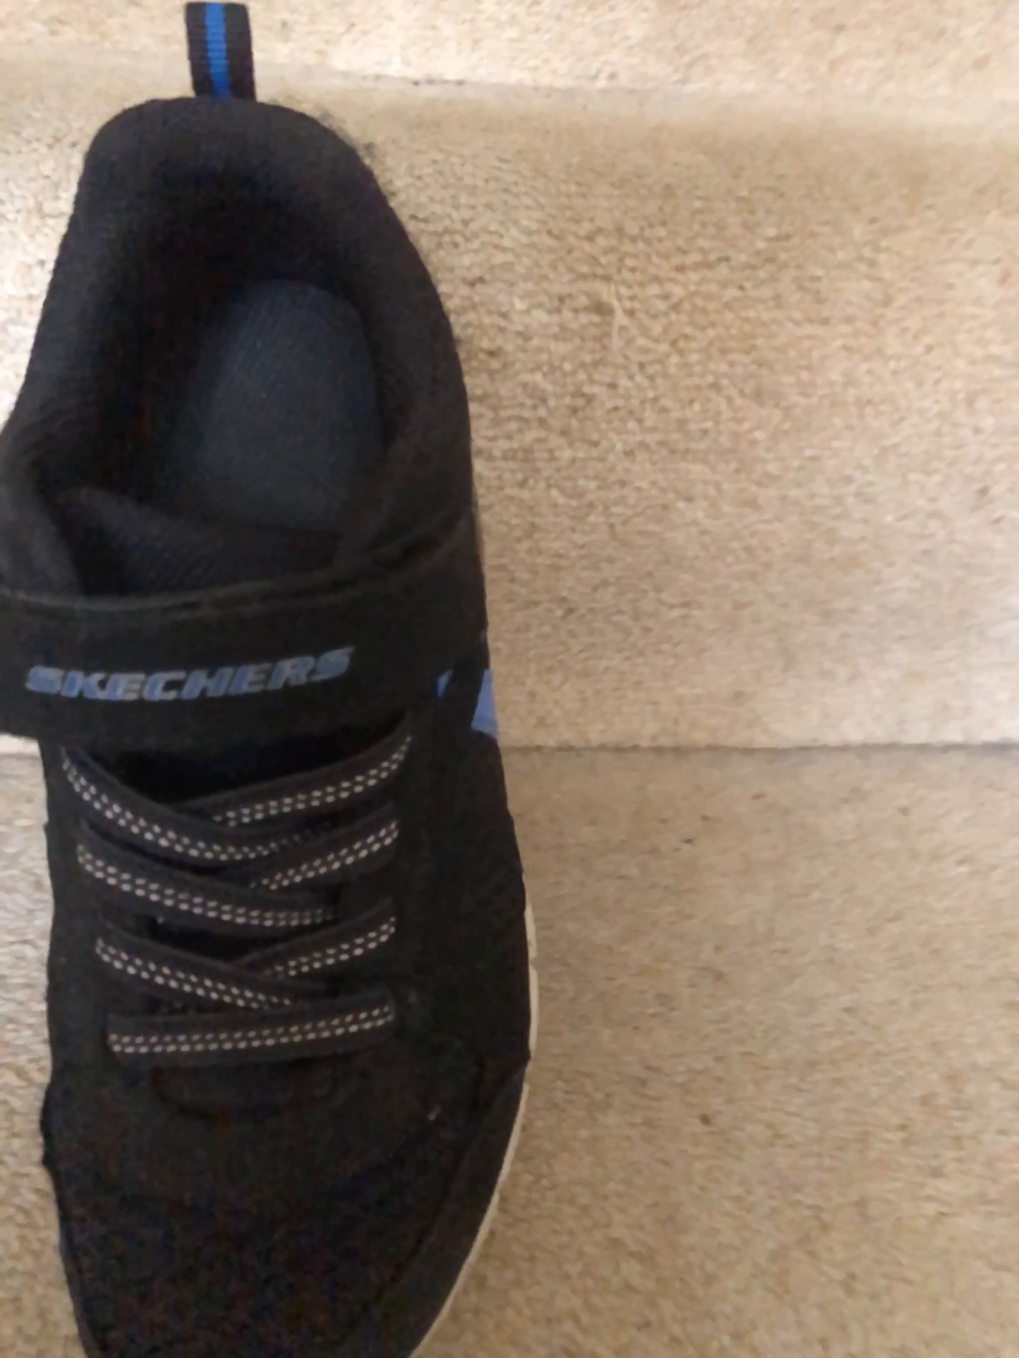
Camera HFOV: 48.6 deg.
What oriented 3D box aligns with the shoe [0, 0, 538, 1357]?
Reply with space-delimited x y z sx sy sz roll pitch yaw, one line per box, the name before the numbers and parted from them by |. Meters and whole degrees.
shoe | -0.046 0.007 0.195 0.090 0.220 0.100 -3 -9 1
